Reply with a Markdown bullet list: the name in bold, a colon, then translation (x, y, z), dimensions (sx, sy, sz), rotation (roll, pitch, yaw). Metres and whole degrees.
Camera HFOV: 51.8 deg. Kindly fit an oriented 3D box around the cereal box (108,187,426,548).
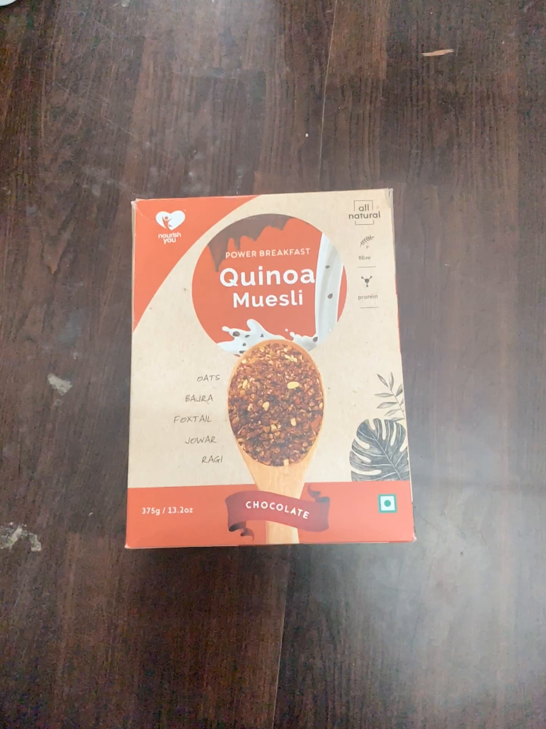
- **cereal box**: translation (-0.004, 0.003, 0.359), dimensions (0.170, 0.070, 0.210), rotation (-2, 76, 3)
